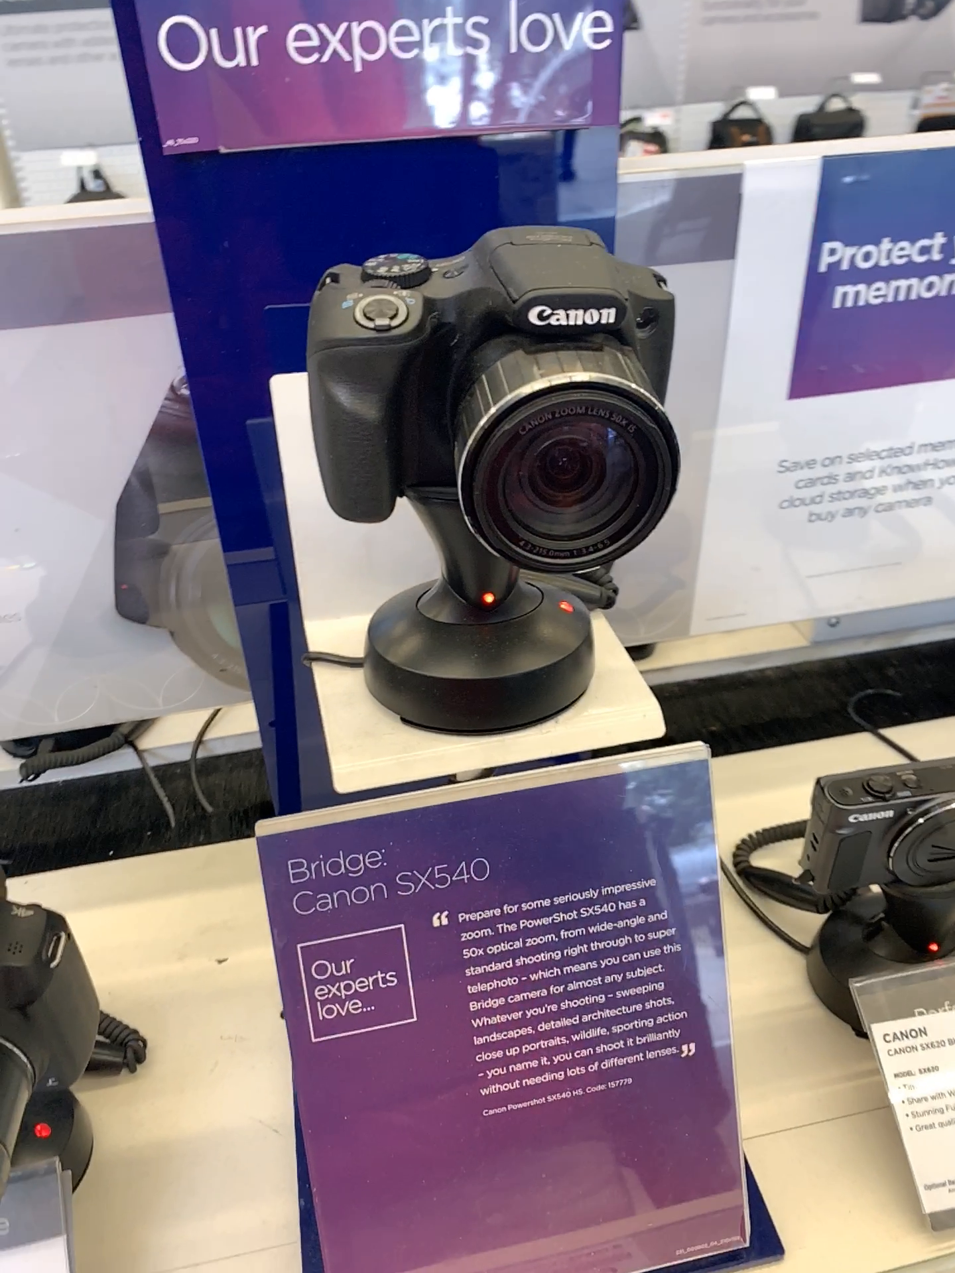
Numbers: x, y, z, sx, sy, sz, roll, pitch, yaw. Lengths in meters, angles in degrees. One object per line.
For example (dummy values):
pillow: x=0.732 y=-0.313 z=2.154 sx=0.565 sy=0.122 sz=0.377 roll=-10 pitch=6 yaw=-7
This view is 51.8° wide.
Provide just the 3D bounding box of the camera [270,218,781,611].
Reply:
camera: x=0.008 y=-0.072 z=0.294 sx=0.120 sy=0.069 sz=0.111 roll=-4 pitch=36 yaw=-3
